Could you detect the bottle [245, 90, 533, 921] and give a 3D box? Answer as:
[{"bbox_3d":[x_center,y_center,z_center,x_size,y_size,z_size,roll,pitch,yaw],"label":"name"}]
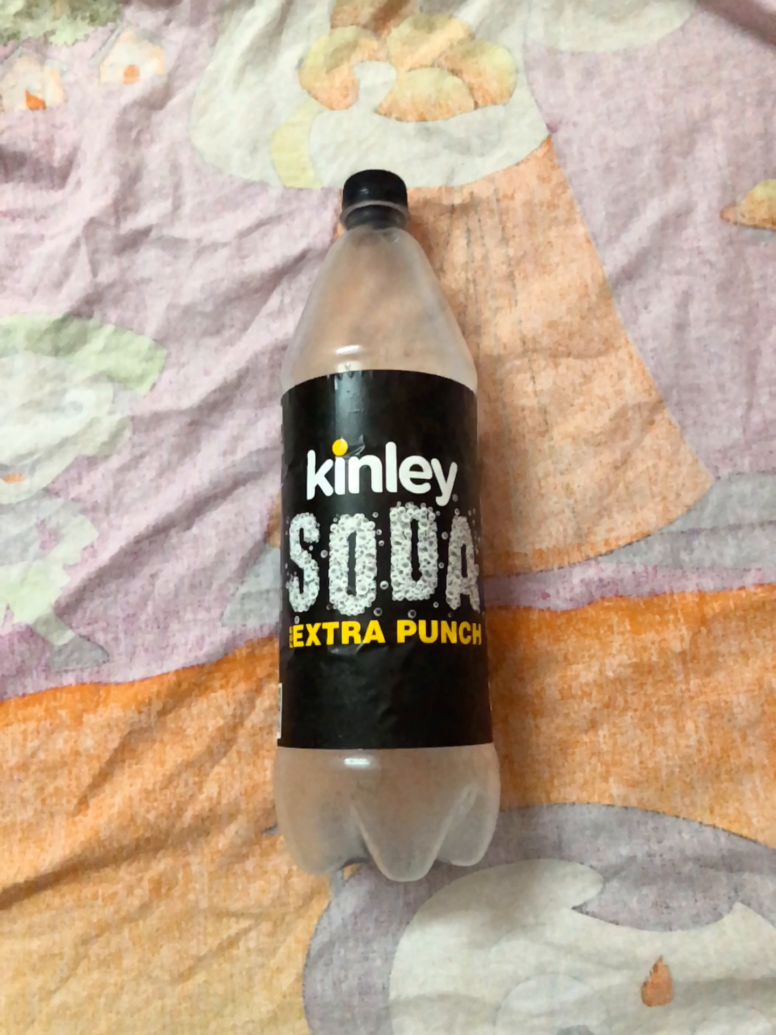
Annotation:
[{"bbox_3d":[-0.004,-0.008,0.329,0.090,0.080,0.280,-1,83,-3],"label":"bottle"}]
